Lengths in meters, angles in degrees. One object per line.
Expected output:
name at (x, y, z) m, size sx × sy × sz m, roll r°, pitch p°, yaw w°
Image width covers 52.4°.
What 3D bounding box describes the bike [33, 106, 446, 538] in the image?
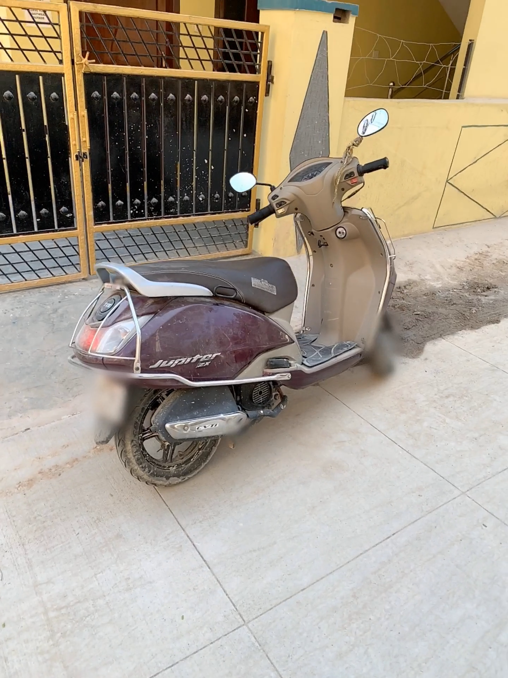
bike at (0.015, -0.224, 2.186) m, size 0.614 × 1.158 × 1.529 m, roll 28°, pitch 40°, yaw 37°
